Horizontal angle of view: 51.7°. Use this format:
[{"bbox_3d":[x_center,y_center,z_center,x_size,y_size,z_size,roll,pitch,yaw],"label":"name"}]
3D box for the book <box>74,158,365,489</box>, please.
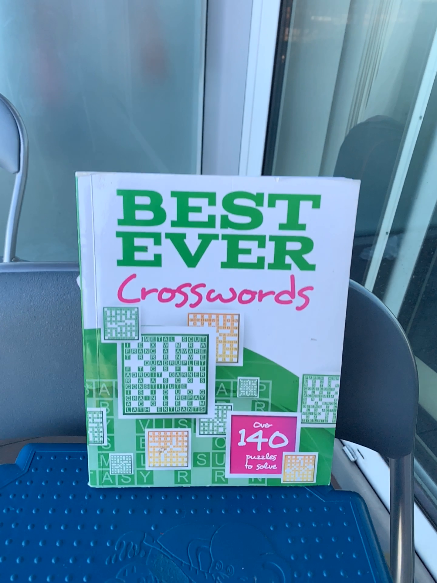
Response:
[{"bbox_3d":[-0.001,0.023,0.277,0.157,0.196,0.030,1,12,-4],"label":"book"}]
